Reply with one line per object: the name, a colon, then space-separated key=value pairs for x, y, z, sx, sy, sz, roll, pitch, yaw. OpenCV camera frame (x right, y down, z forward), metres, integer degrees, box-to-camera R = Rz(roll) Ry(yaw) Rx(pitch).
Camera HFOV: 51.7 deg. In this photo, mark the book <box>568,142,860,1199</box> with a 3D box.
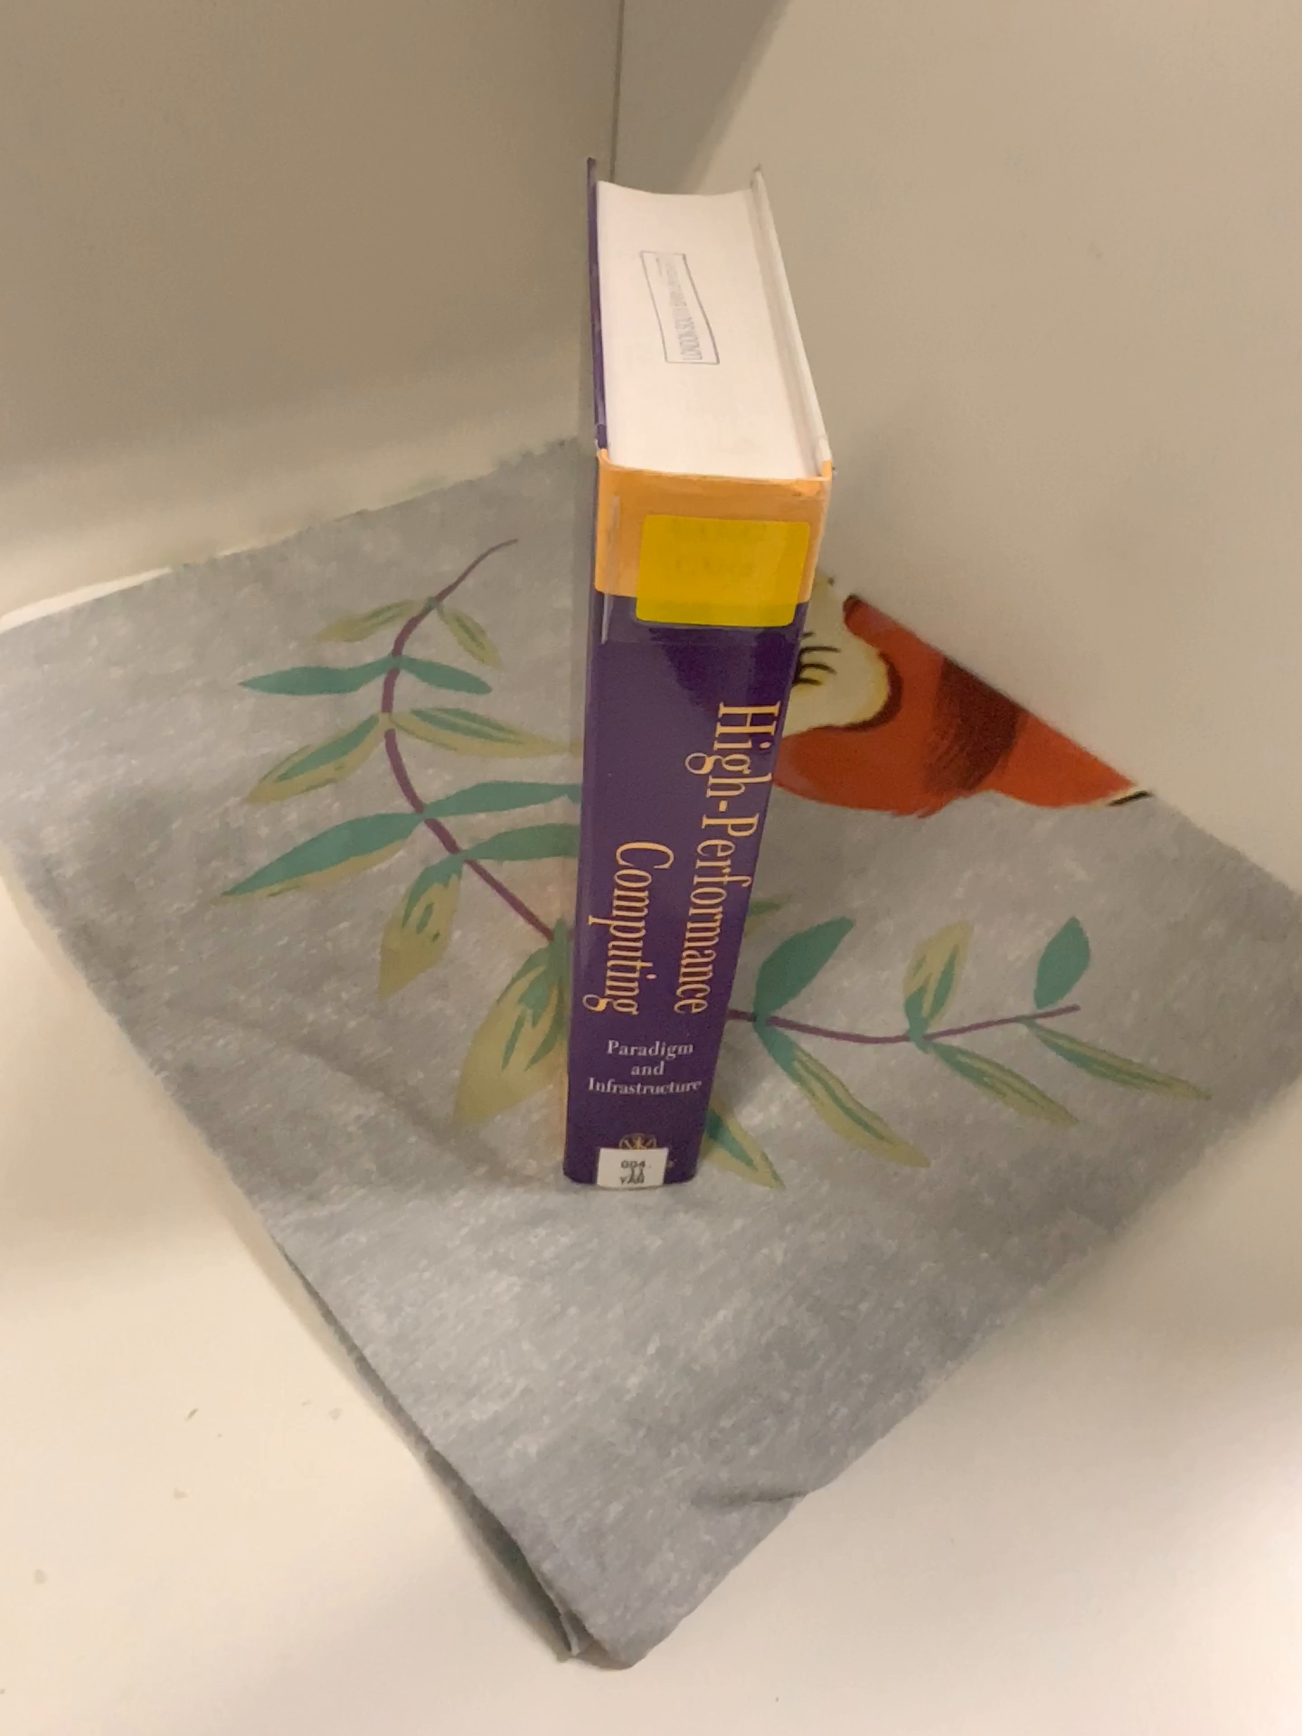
book: x=0.004 y=-0.045 z=0.381 sx=0.049 sy=0.243 sz=0.170 roll=1 pitch=45 yaw=-3
